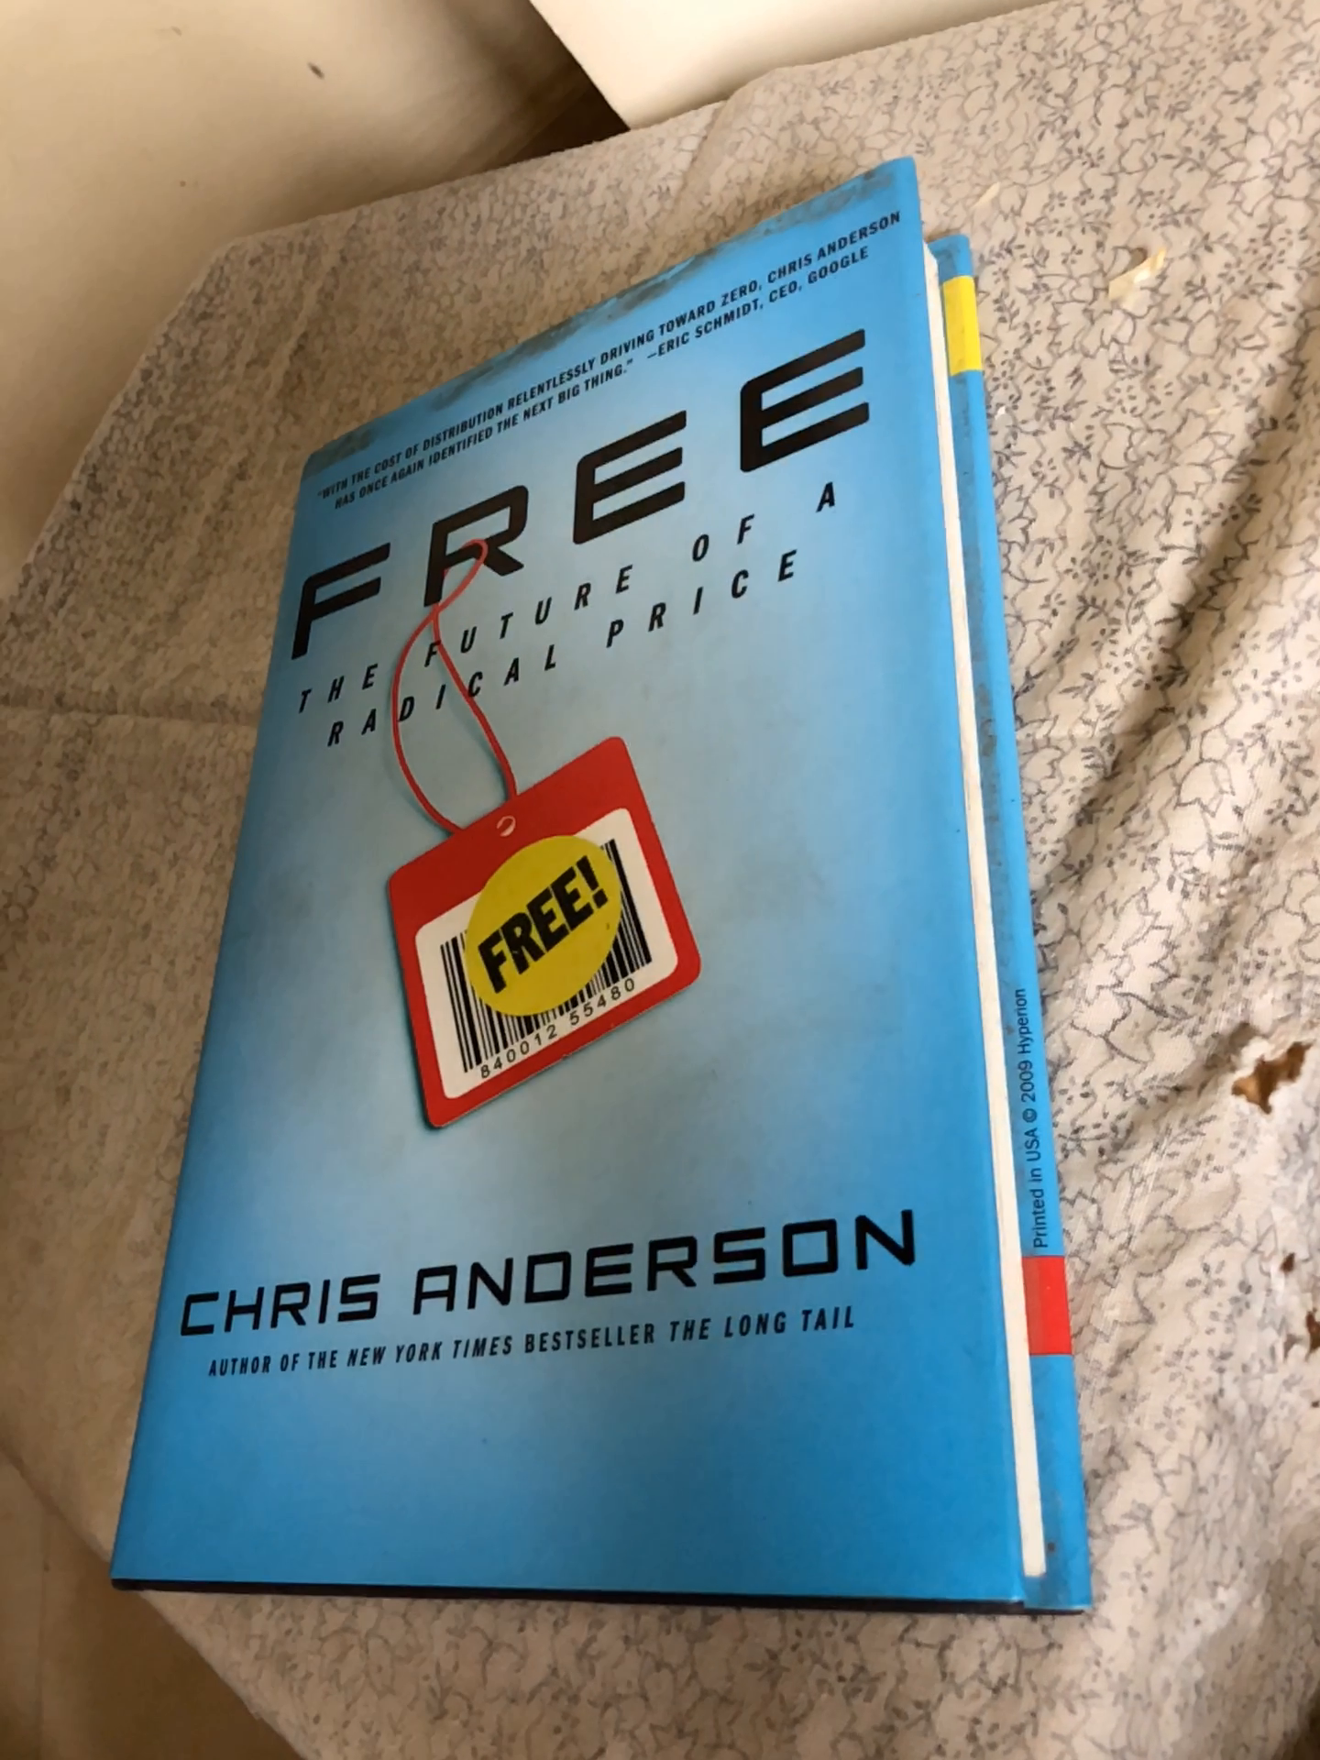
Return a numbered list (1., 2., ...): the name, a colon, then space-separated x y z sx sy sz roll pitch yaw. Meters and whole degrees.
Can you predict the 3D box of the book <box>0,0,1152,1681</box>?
1. book: -0.028 -0.025 0.254 0.181 0.040 0.280 -17 56 32
